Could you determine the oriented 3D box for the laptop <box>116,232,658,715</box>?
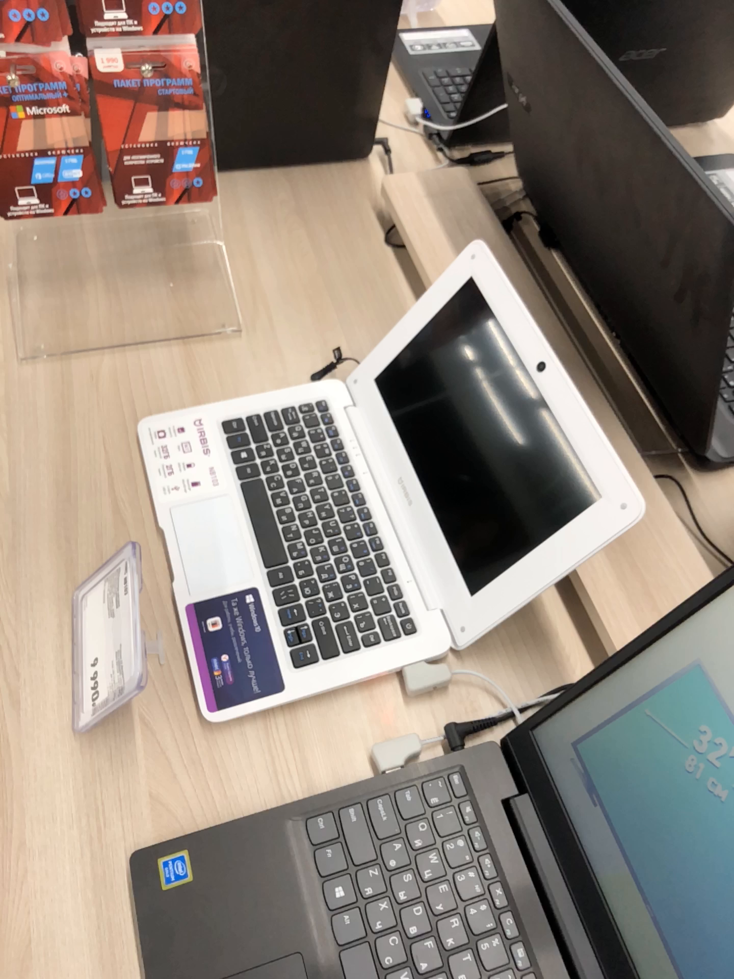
[{"bbox_3d":[-0.007,-0.029,0.649,0.317,0.144,0.297,-13,56,-12],"label":"laptop"}]
